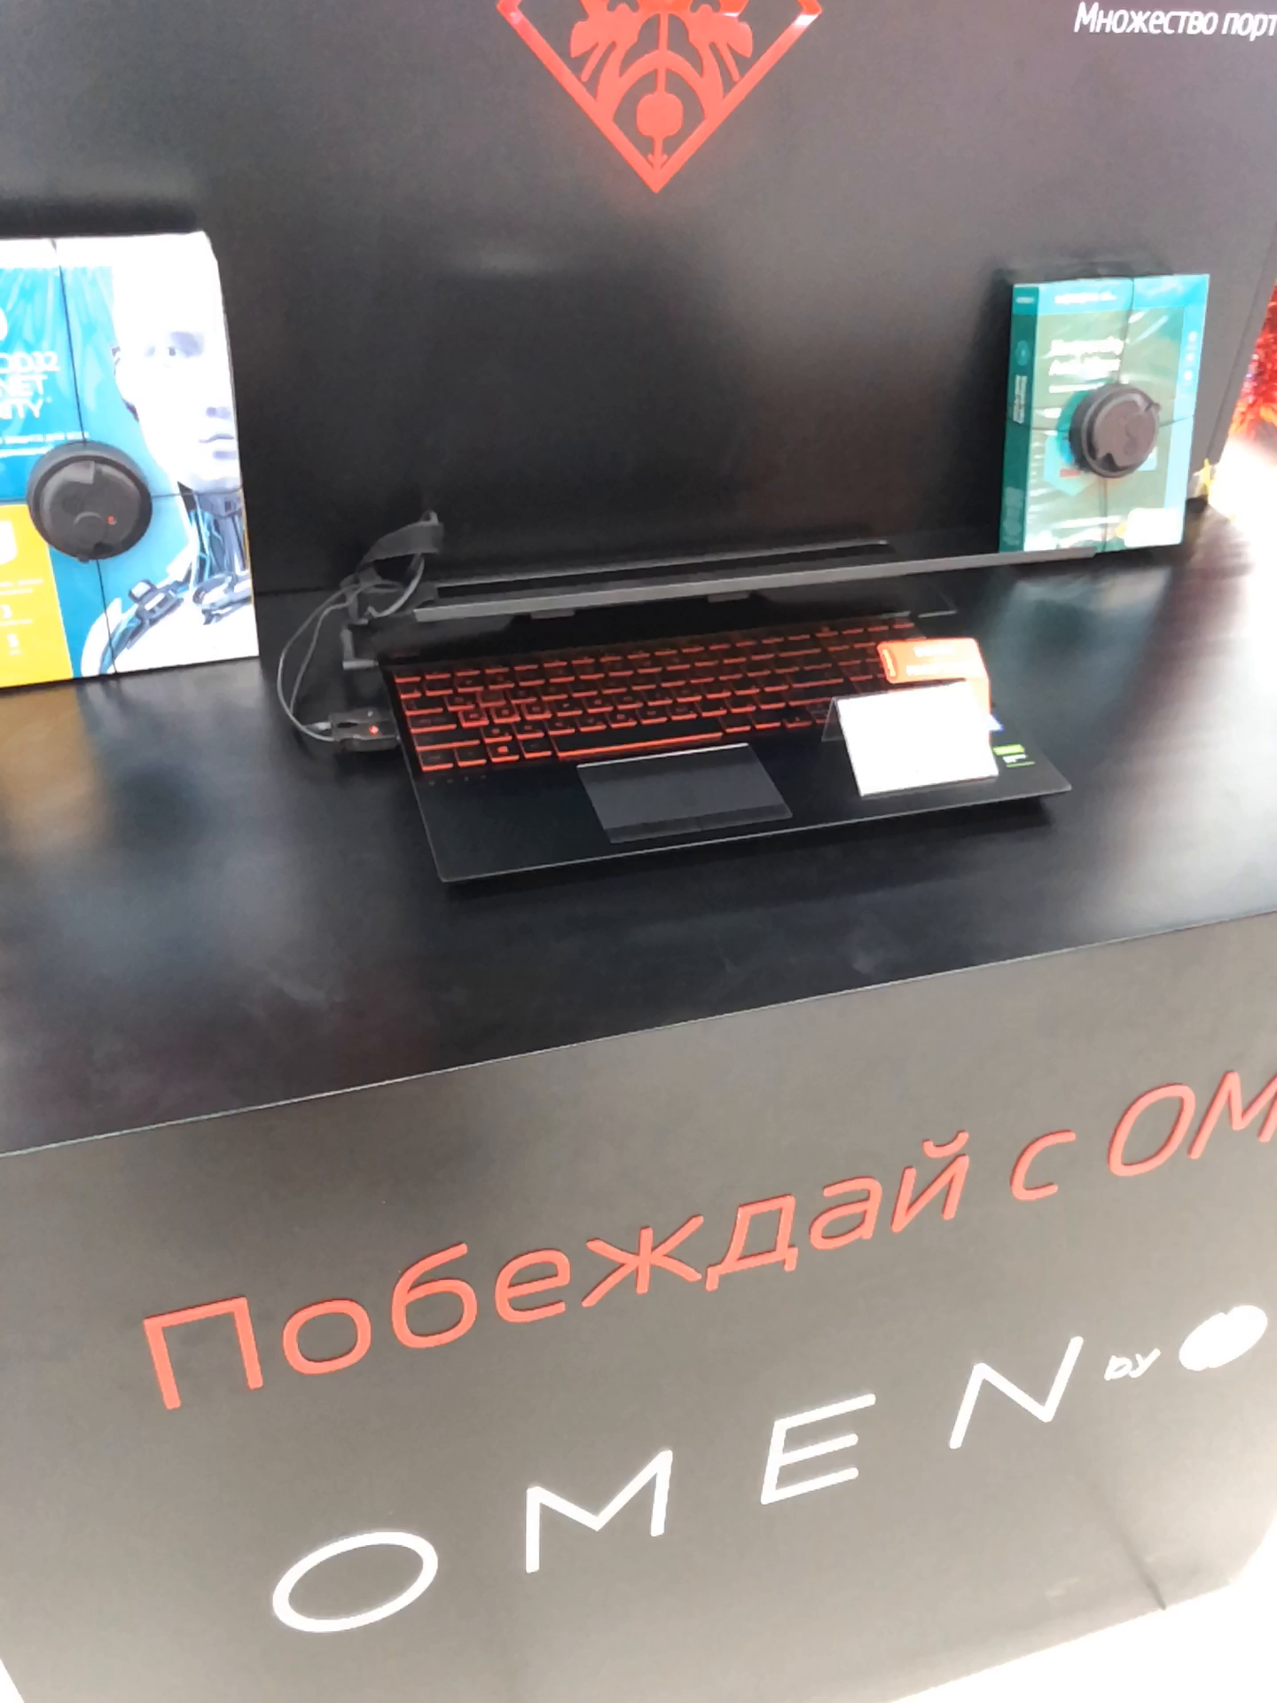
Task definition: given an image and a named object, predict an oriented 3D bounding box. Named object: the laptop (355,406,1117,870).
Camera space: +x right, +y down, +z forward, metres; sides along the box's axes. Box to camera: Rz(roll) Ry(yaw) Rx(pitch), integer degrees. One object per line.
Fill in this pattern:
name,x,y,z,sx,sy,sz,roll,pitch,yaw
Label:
laptop,0.036,-0.134,0.792,0.350,0.121,0.232,-8,40,-12
